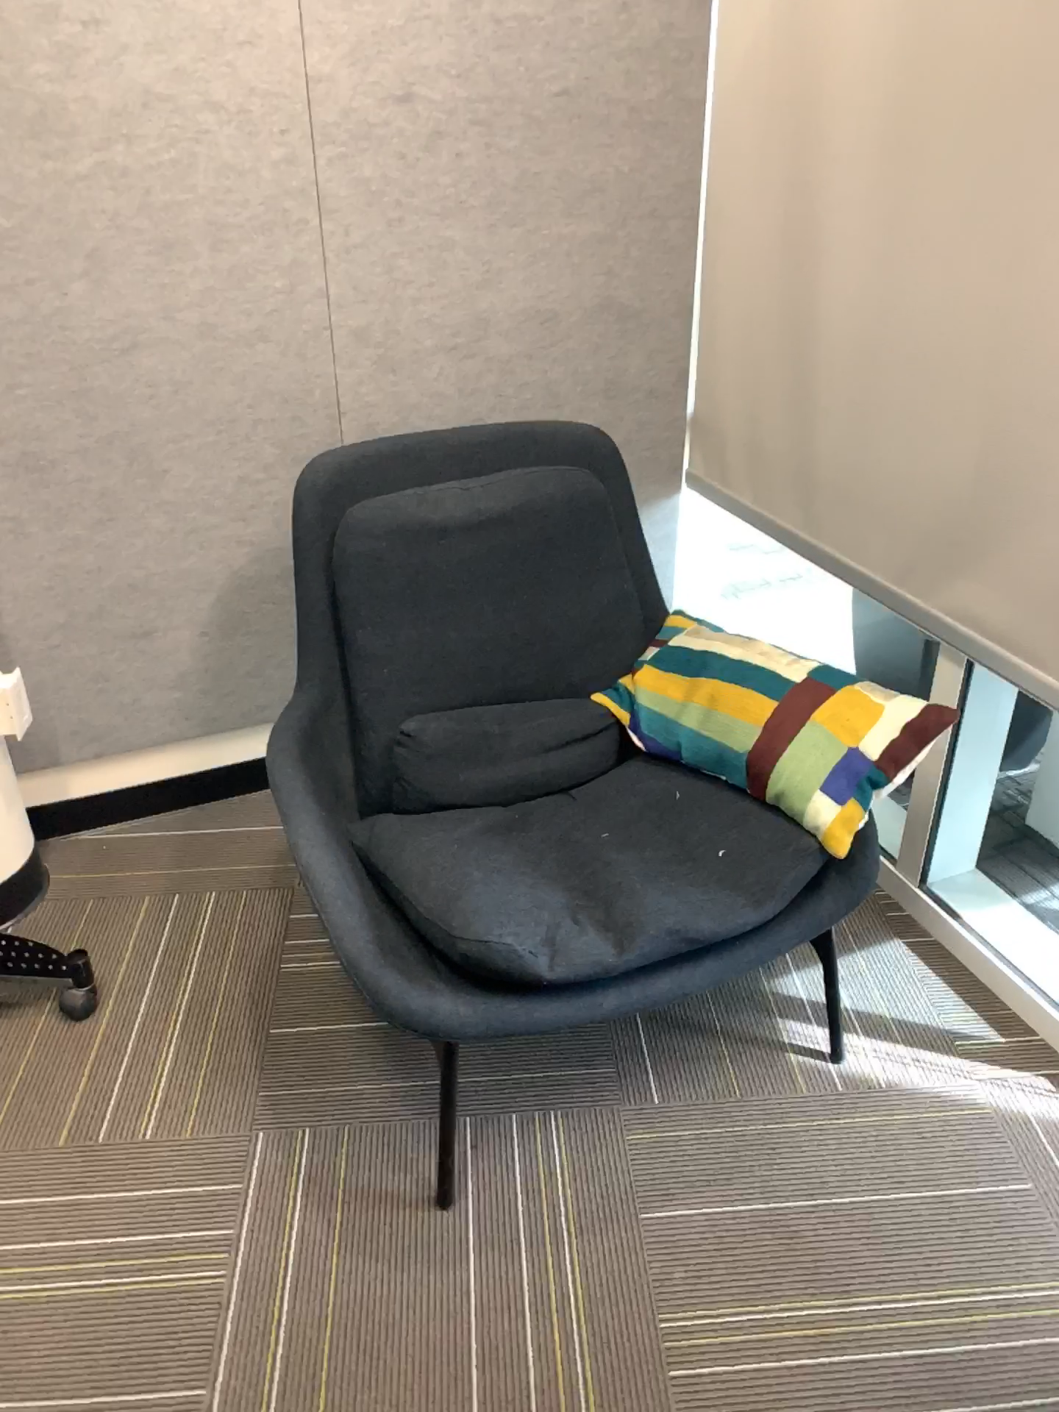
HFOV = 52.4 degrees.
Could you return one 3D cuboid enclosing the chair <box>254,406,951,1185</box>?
[{"bbox_3d":[0.013,0.044,1.884,0.790,0.815,1.006,-9,31,-14],"label":"chair"}]
